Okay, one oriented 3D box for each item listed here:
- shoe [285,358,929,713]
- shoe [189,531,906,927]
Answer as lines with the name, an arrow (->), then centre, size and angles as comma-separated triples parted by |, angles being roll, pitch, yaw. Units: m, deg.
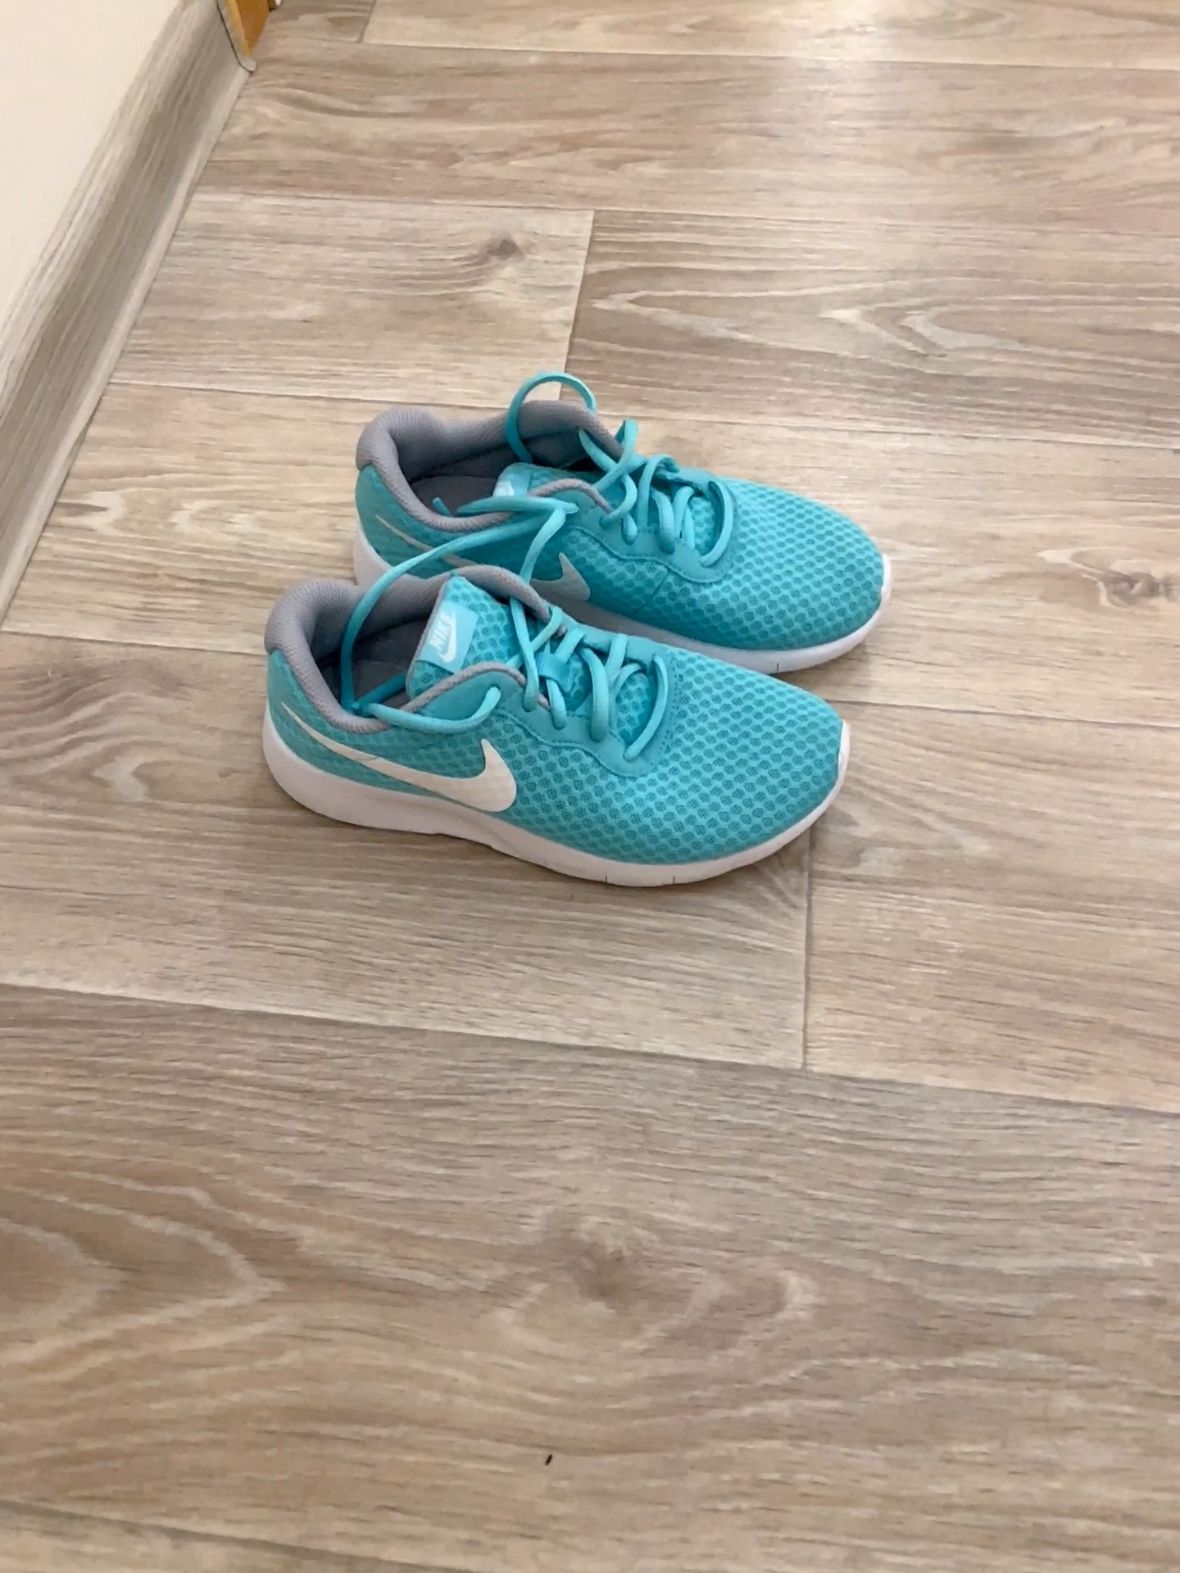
shoe -> 0.012, -0.110, 0.528 | 0.250, 0.090, 0.099 | 6, 60, 6
shoe -> -0.010, -0.023, 0.480 | 0.250, 0.090, 0.102 | 6, 60, 6
